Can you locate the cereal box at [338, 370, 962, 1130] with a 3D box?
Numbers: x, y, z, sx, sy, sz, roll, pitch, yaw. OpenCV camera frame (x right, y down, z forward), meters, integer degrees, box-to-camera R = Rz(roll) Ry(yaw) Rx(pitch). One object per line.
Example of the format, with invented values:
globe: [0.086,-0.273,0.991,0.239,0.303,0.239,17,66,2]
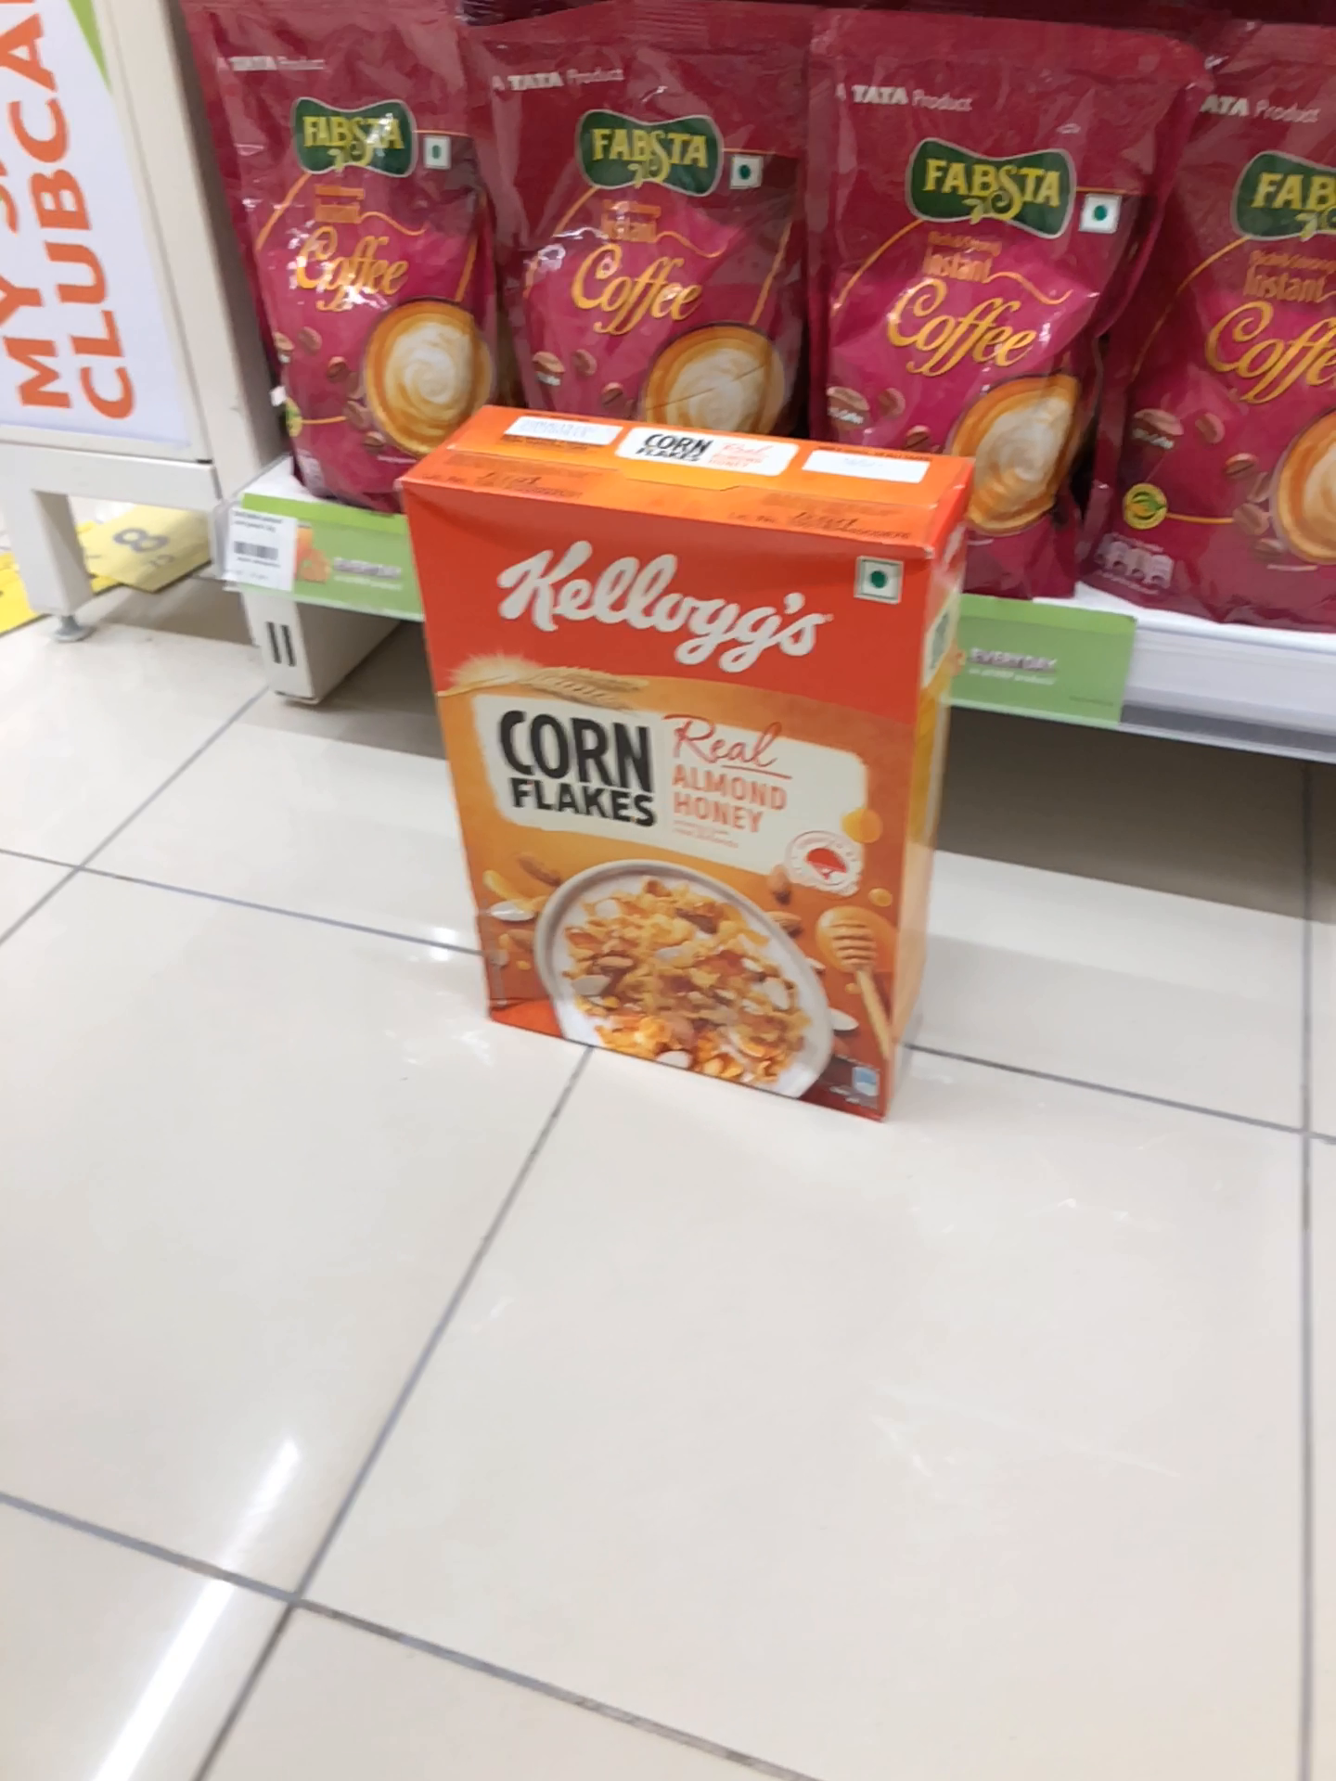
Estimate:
cereal box: [-0.002,-0.051,0.590,0.200,0.268,0.081,13,40,19]
